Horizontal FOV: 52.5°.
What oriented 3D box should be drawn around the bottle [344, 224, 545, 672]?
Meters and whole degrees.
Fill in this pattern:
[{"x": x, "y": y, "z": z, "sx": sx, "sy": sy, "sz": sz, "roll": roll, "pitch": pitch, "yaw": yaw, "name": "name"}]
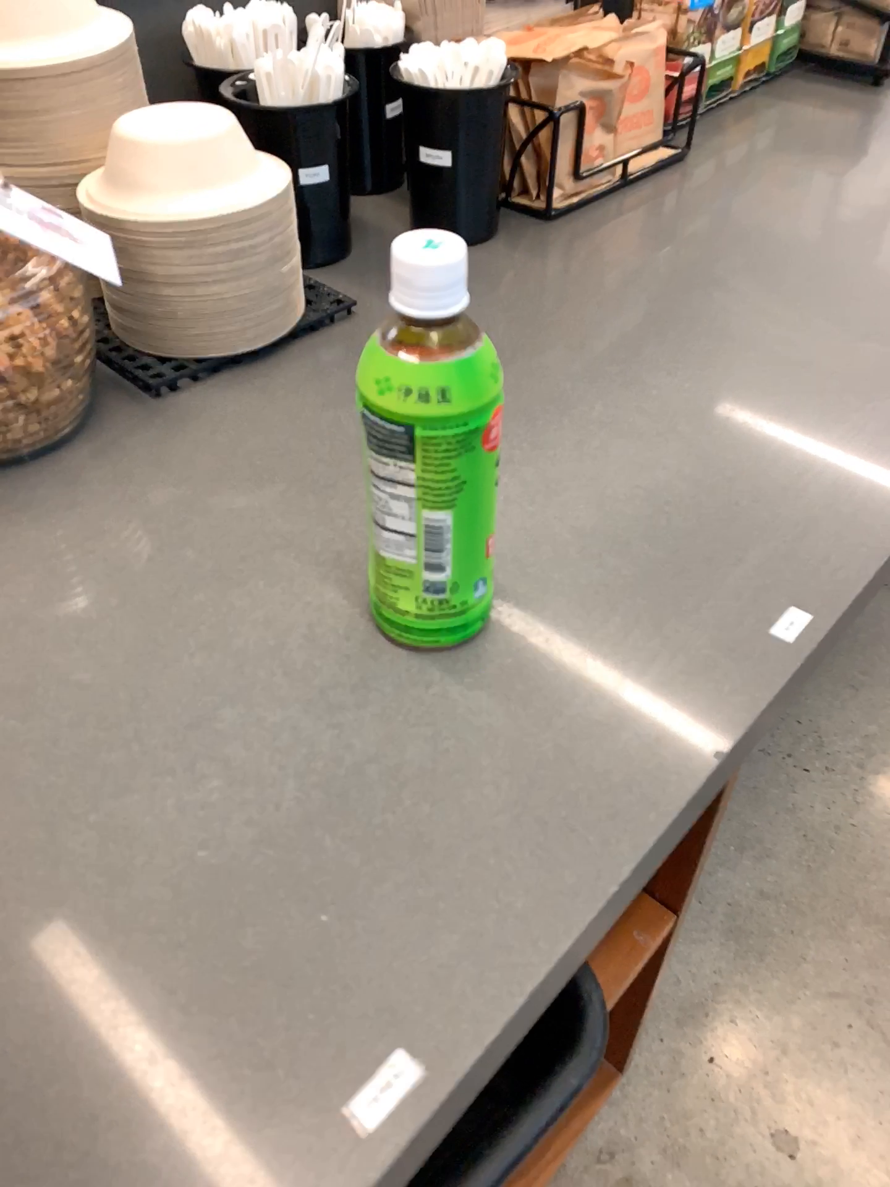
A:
[{"x": -0.003, "y": -0.059, "z": 0.427, "sx": 0.070, "sy": 0.199, "sz": 0.070, "roll": 0, "pitch": 44, "yaw": 0, "name": "bottle"}]
